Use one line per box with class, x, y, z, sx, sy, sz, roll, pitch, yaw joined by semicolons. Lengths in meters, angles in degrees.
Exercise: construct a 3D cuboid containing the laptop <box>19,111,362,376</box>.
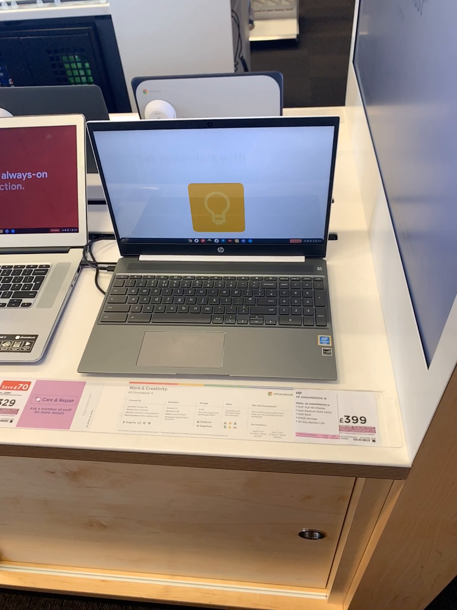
laptop;-0.028;-0.087;0.643;0.351;0.228;0.265;1;47;6
